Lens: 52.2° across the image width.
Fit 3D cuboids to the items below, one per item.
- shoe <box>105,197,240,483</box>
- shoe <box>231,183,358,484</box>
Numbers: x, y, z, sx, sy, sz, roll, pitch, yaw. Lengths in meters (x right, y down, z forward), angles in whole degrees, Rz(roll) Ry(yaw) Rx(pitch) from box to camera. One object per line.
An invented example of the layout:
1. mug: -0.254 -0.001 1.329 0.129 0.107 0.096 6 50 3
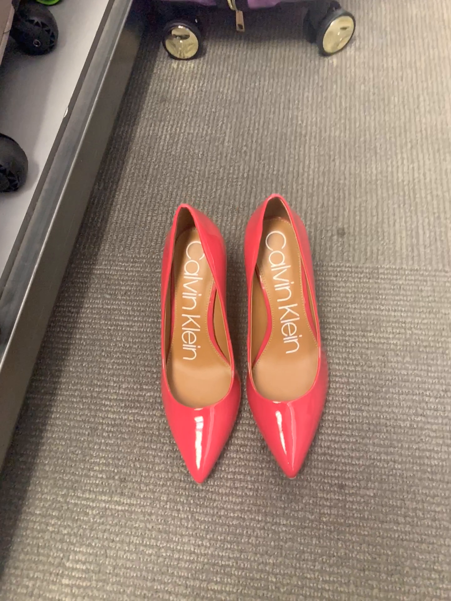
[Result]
1. shoe: -0.033 0.039 0.395 0.074 0.130 0.209 -4 64 6
2. shoe: 0.049 0.031 0.381 0.073 0.121 0.217 -4 64 6
